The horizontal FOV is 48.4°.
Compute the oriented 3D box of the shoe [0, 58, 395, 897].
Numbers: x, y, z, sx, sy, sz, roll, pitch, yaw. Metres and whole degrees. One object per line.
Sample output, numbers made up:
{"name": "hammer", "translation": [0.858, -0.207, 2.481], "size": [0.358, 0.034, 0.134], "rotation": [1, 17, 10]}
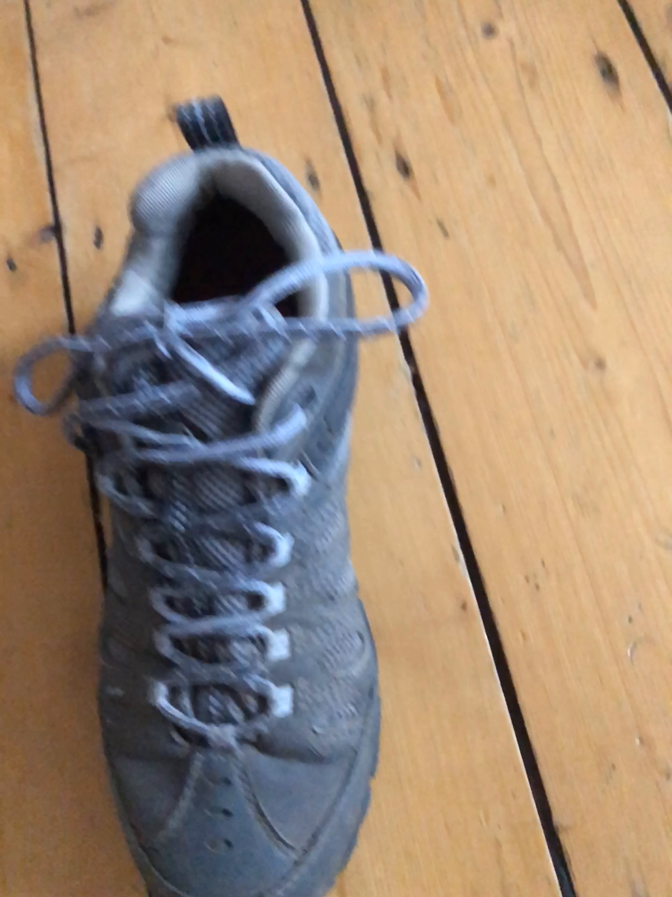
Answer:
{"name": "shoe", "translation": [-0.037, 0.023, 0.267], "size": [0.100, 0.110, 0.281], "rotation": [-3, 74, 8]}
